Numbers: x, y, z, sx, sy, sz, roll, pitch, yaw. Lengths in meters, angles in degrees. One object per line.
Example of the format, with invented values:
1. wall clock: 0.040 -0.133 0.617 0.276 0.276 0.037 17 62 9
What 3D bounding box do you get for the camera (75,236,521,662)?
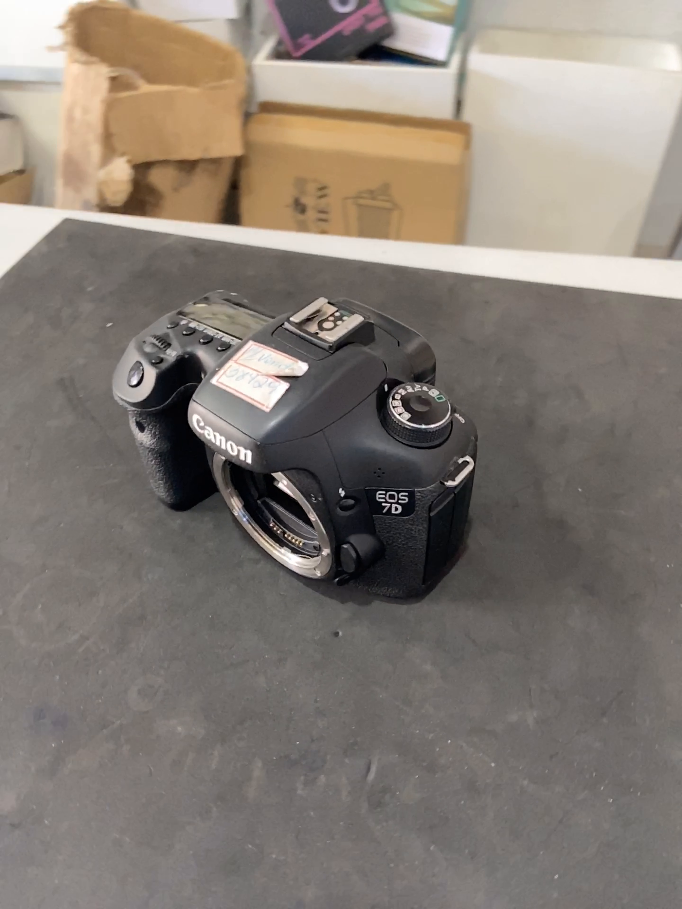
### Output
1. camera: -0.018 -0.008 0.304 0.152 0.101 0.083 29 54 27
